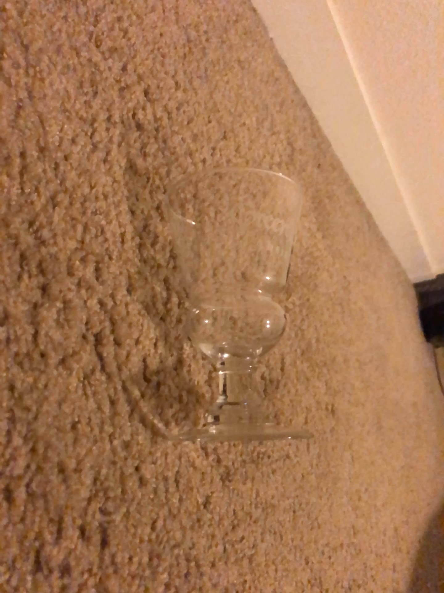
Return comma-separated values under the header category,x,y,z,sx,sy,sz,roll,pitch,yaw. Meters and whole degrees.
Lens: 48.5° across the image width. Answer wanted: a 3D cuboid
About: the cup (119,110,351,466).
category,x,y,z,sx,sy,sz,roll,pitch,yaw
cup,0.008,0.004,0.272,0.095,0.078,0.157,19,62,-58
